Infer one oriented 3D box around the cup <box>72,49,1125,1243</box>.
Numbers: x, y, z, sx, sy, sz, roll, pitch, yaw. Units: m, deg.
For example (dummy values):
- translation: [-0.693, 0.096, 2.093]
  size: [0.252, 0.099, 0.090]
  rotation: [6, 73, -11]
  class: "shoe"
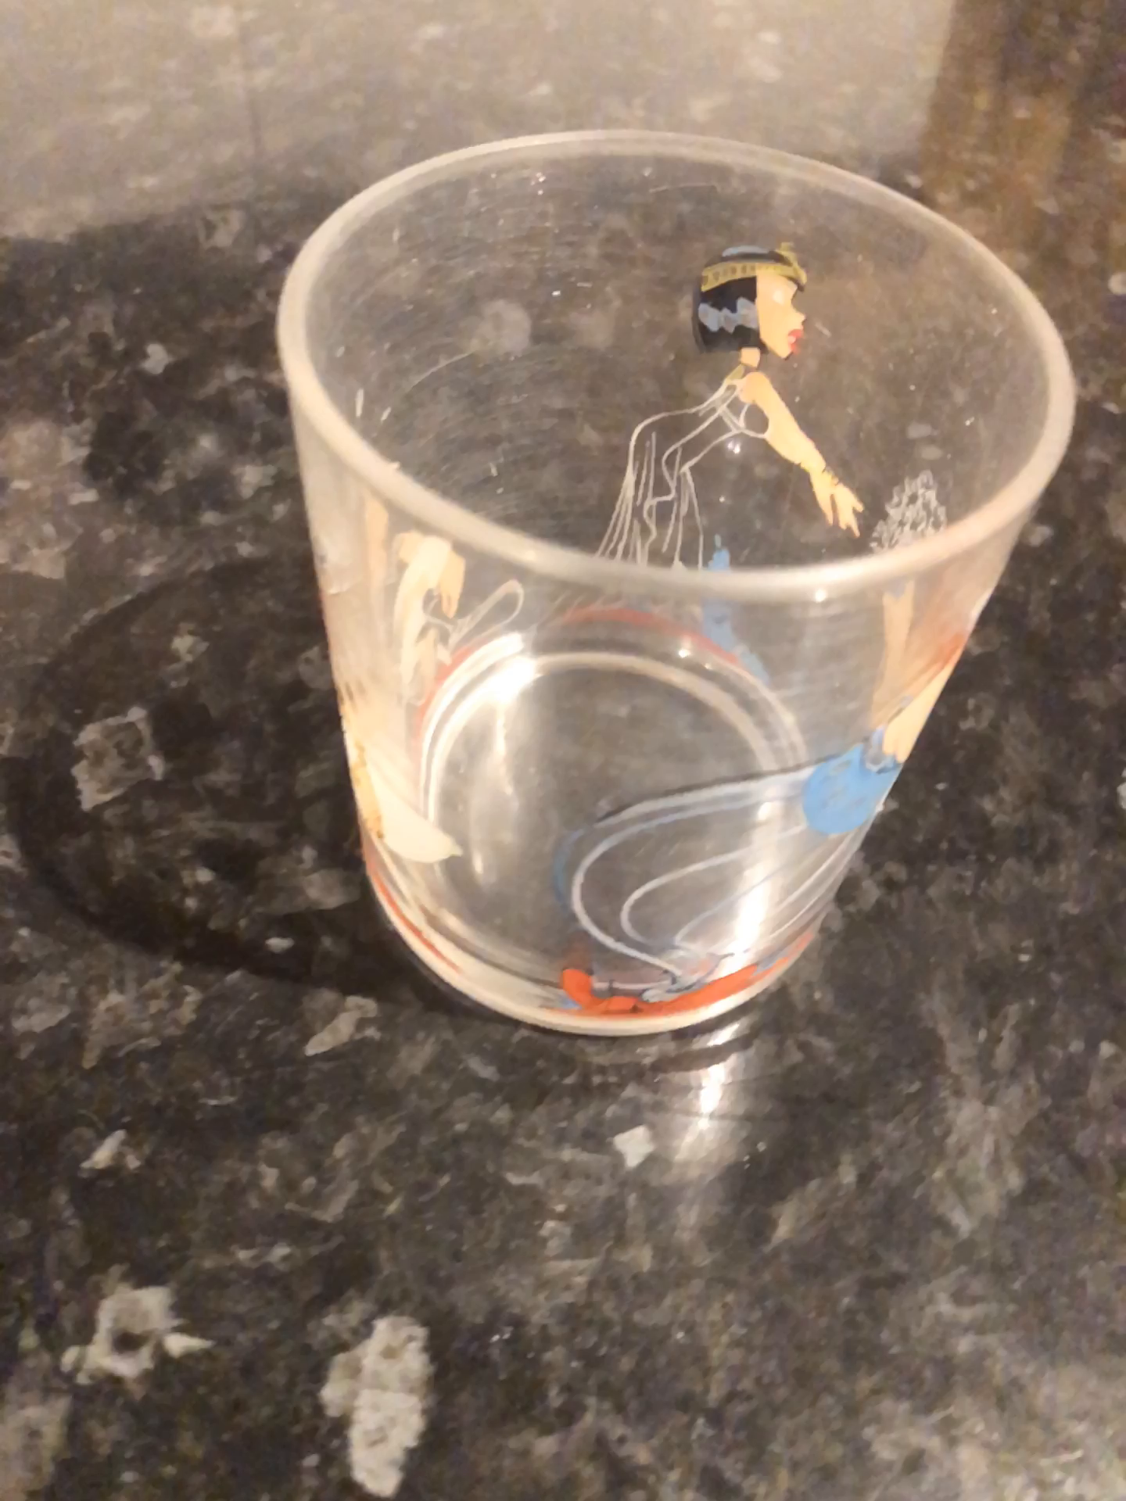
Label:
- translation: [0.012, -0.014, 0.144]
  size: [0.080, 0.080, 0.080]
  rotation: [3, 50, -3]
  class: "cup"
